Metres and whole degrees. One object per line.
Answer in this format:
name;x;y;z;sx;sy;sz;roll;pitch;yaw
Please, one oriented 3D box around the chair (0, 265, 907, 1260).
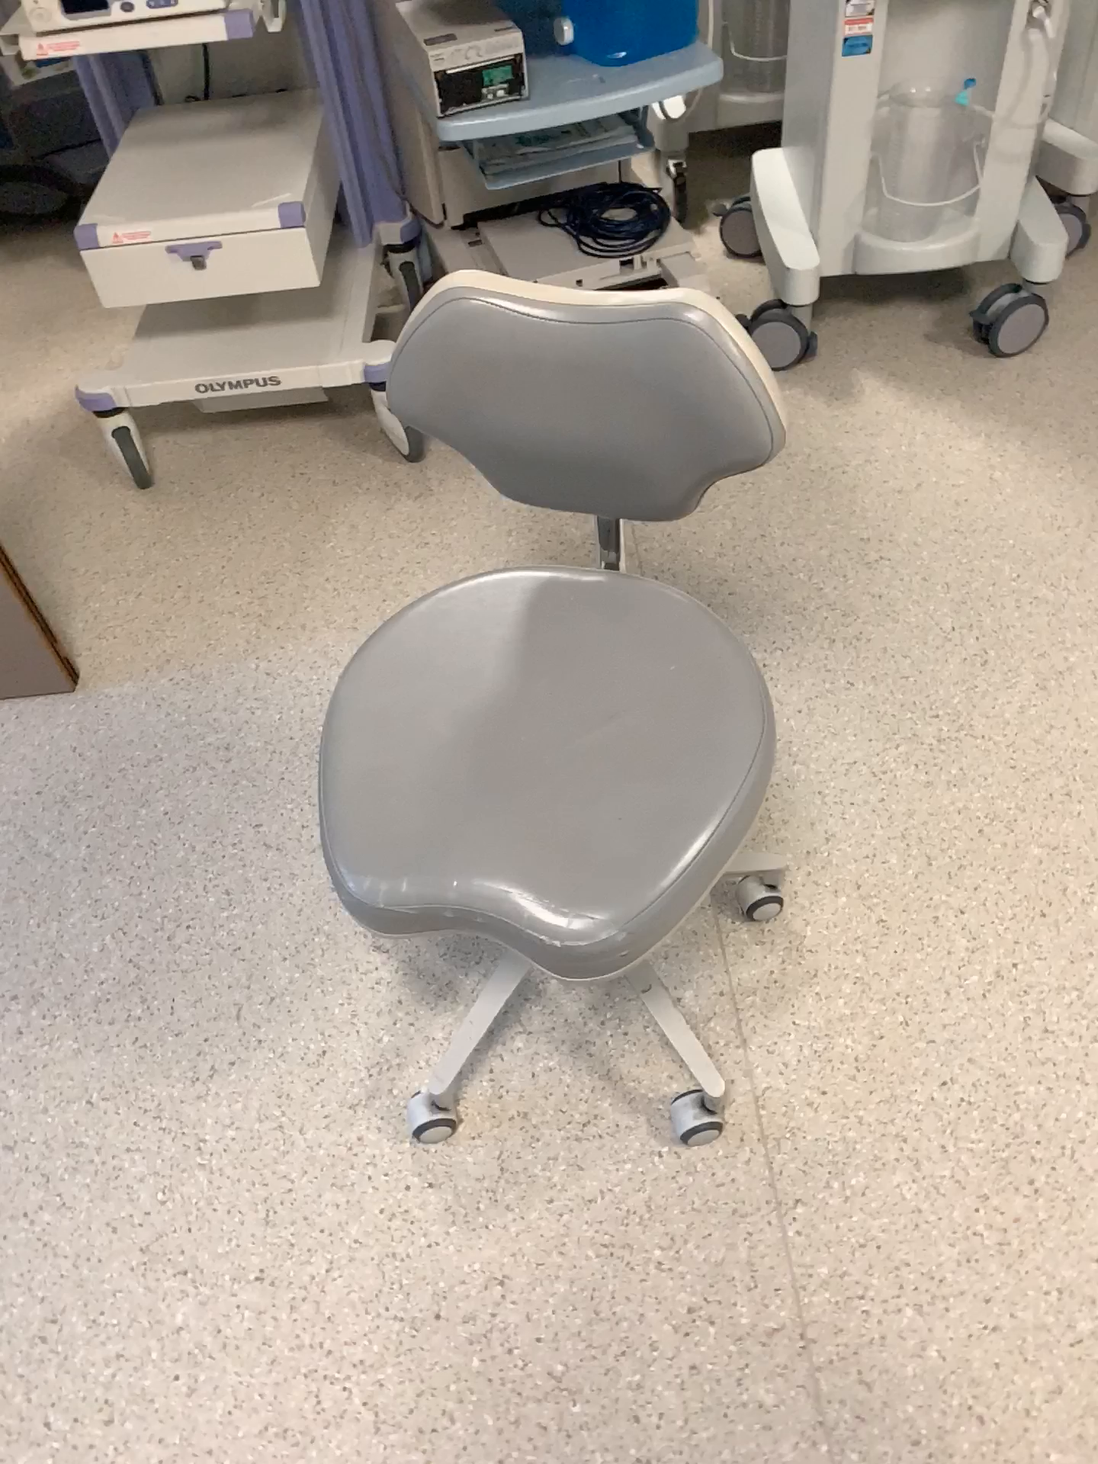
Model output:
chair;-0.005;0.058;1.187;0.601;0.823;0.605;8;51;13
